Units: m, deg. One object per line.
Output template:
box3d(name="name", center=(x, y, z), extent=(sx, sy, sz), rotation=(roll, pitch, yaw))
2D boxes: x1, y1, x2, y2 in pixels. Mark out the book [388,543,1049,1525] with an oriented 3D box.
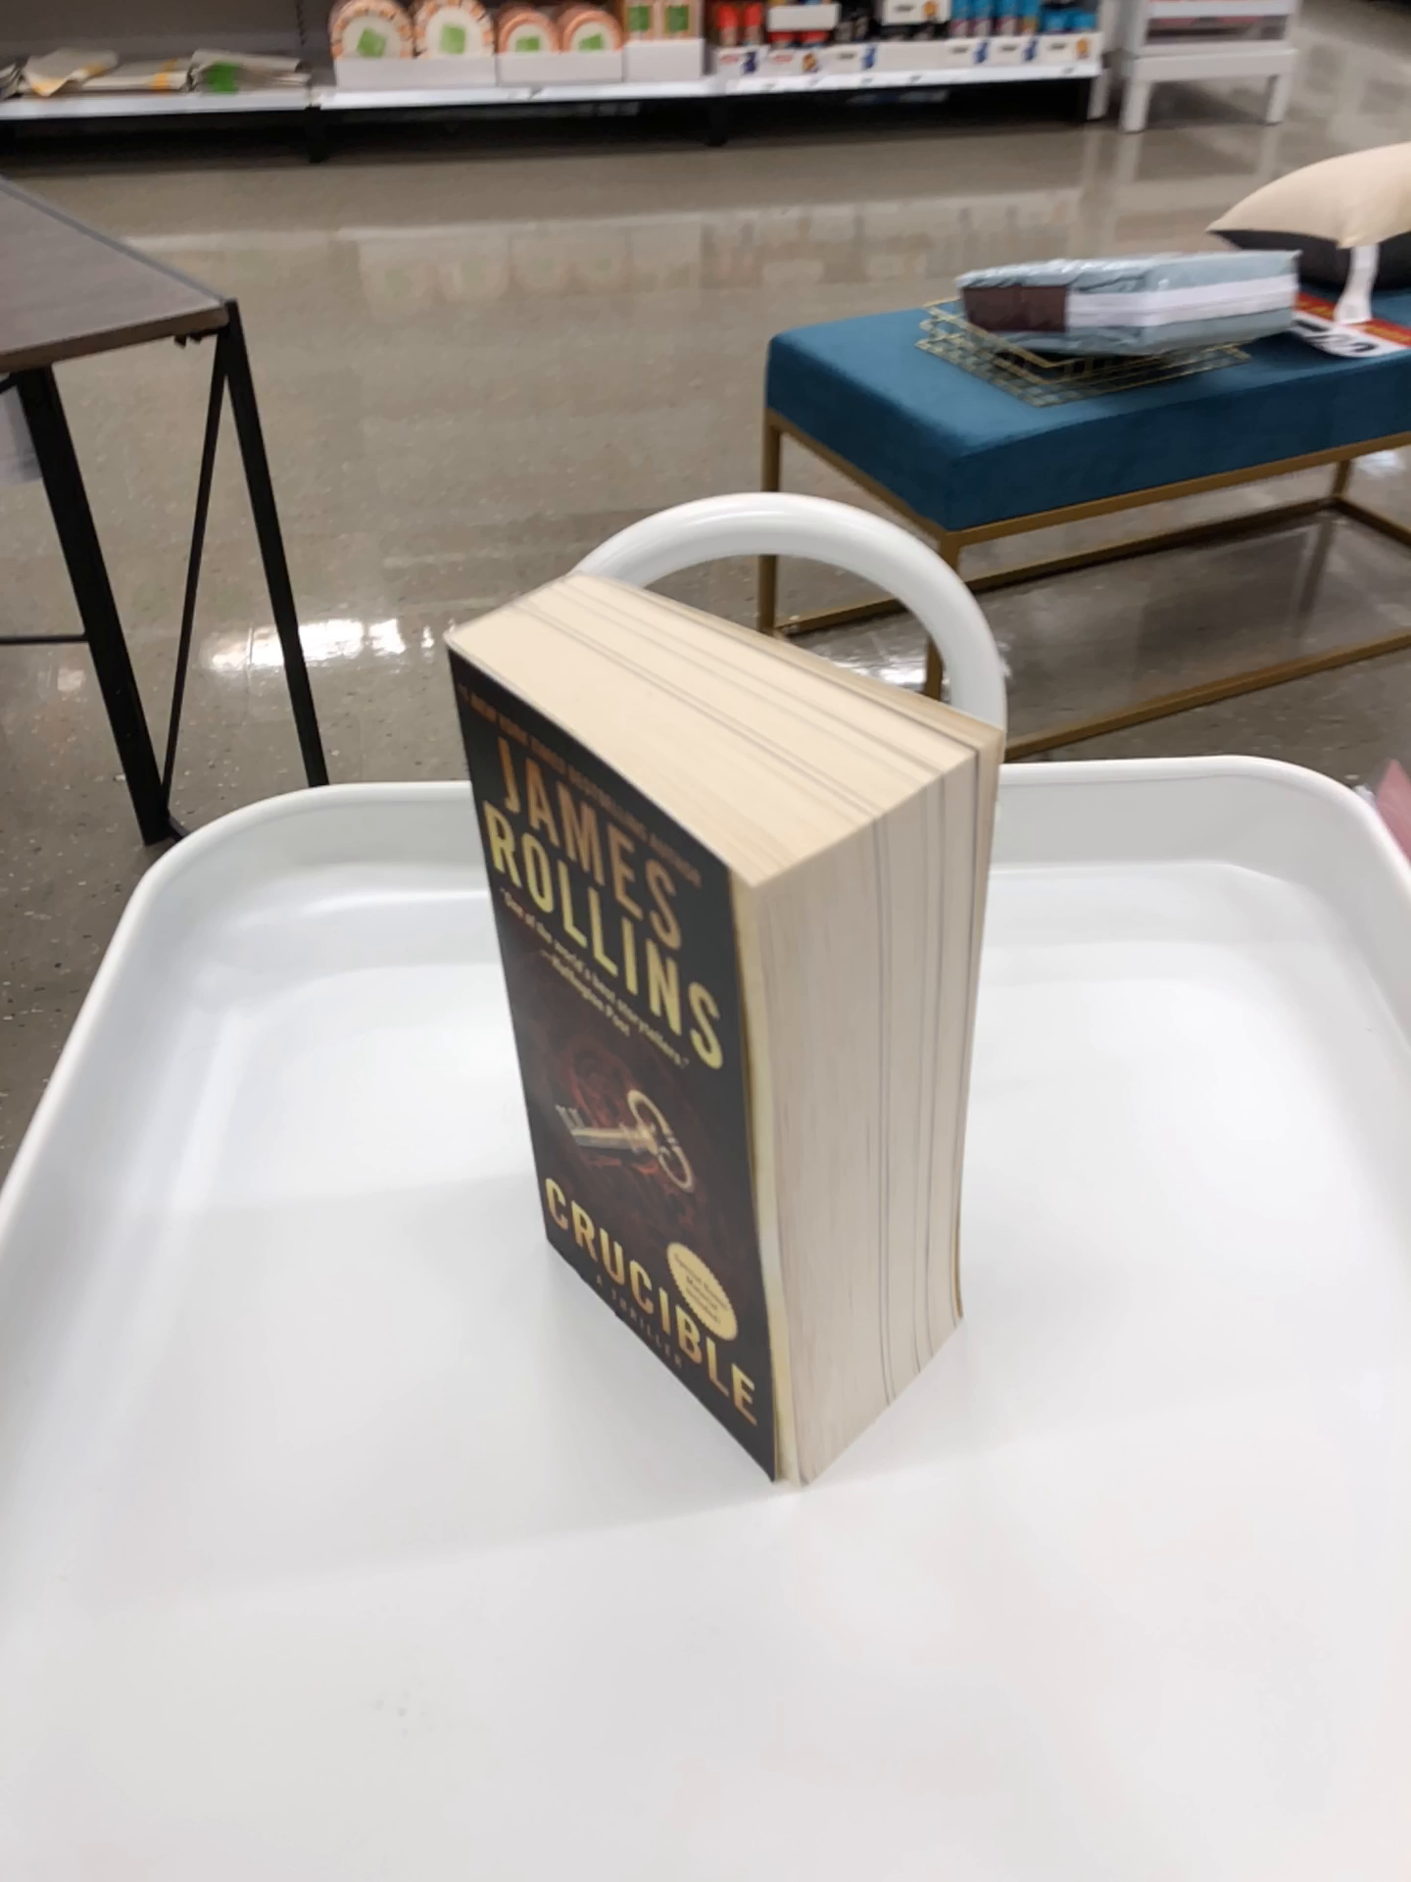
box3d(name="book", center=(0.002, 0.024, 0.350), extent=(0.066, 0.184, 0.113), rotation=(-31, 48, -30))
